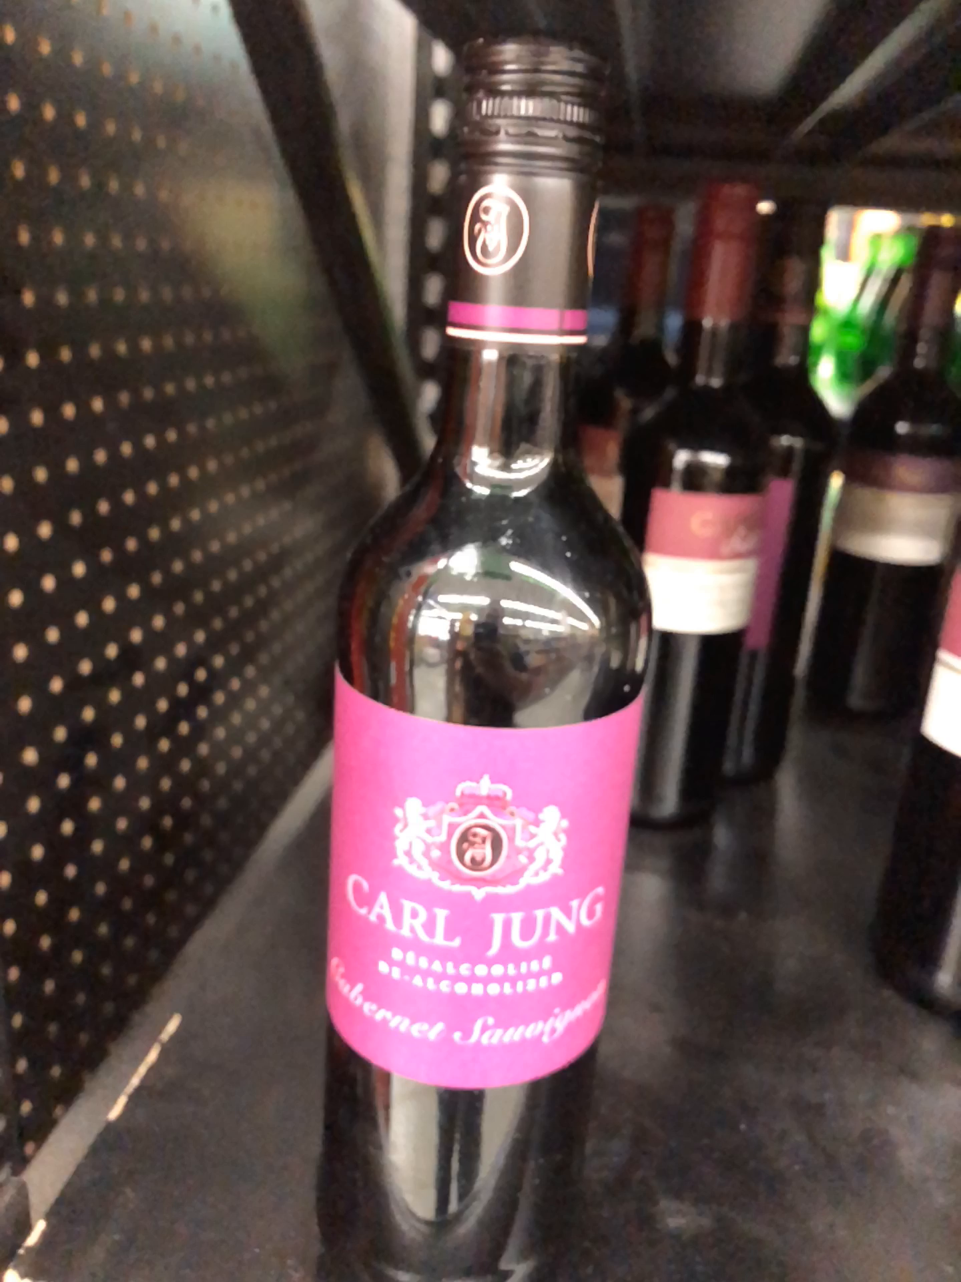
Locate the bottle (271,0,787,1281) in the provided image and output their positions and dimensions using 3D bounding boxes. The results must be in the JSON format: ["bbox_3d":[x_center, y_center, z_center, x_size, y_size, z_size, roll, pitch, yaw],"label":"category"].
[{"bbox_3d":[-0.001,0.024,0.251,0.080,0.288,0.080,3,19,-1],"label":"bottle"}]
